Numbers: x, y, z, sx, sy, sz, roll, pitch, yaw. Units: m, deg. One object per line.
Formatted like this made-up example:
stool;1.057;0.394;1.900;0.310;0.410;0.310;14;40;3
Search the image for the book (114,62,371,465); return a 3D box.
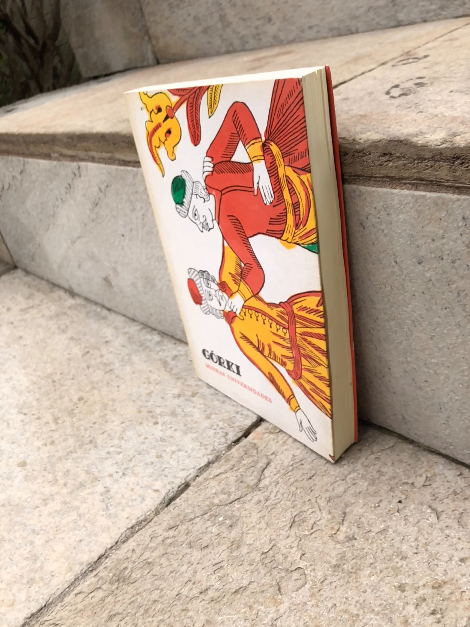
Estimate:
book;0.004;-0.029;0.293;0.030;0.189;0.142;-28;31;-30
